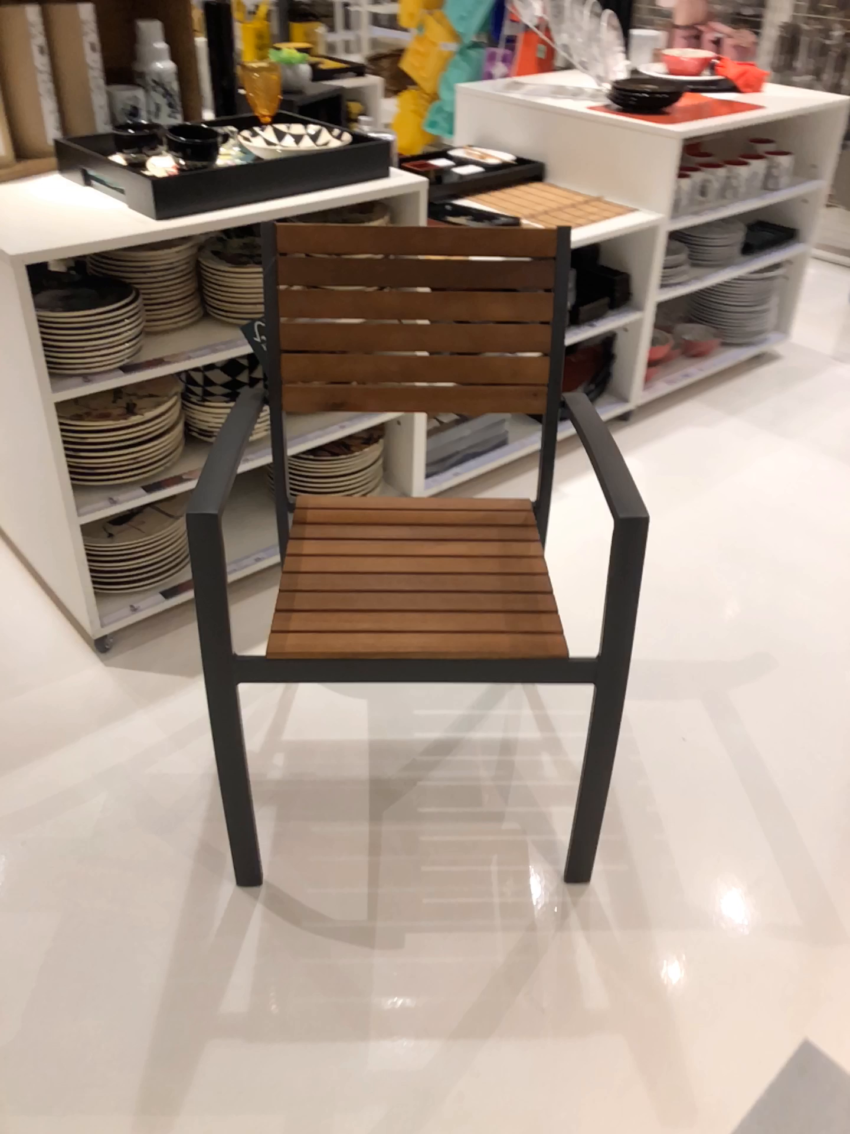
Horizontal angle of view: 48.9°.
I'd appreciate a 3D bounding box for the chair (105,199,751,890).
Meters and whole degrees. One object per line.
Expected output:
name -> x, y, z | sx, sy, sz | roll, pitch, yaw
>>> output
chair -> -0.006, -0.028, 1.297 | 0.590, 0.783, 0.534 | 0, 35, -1
